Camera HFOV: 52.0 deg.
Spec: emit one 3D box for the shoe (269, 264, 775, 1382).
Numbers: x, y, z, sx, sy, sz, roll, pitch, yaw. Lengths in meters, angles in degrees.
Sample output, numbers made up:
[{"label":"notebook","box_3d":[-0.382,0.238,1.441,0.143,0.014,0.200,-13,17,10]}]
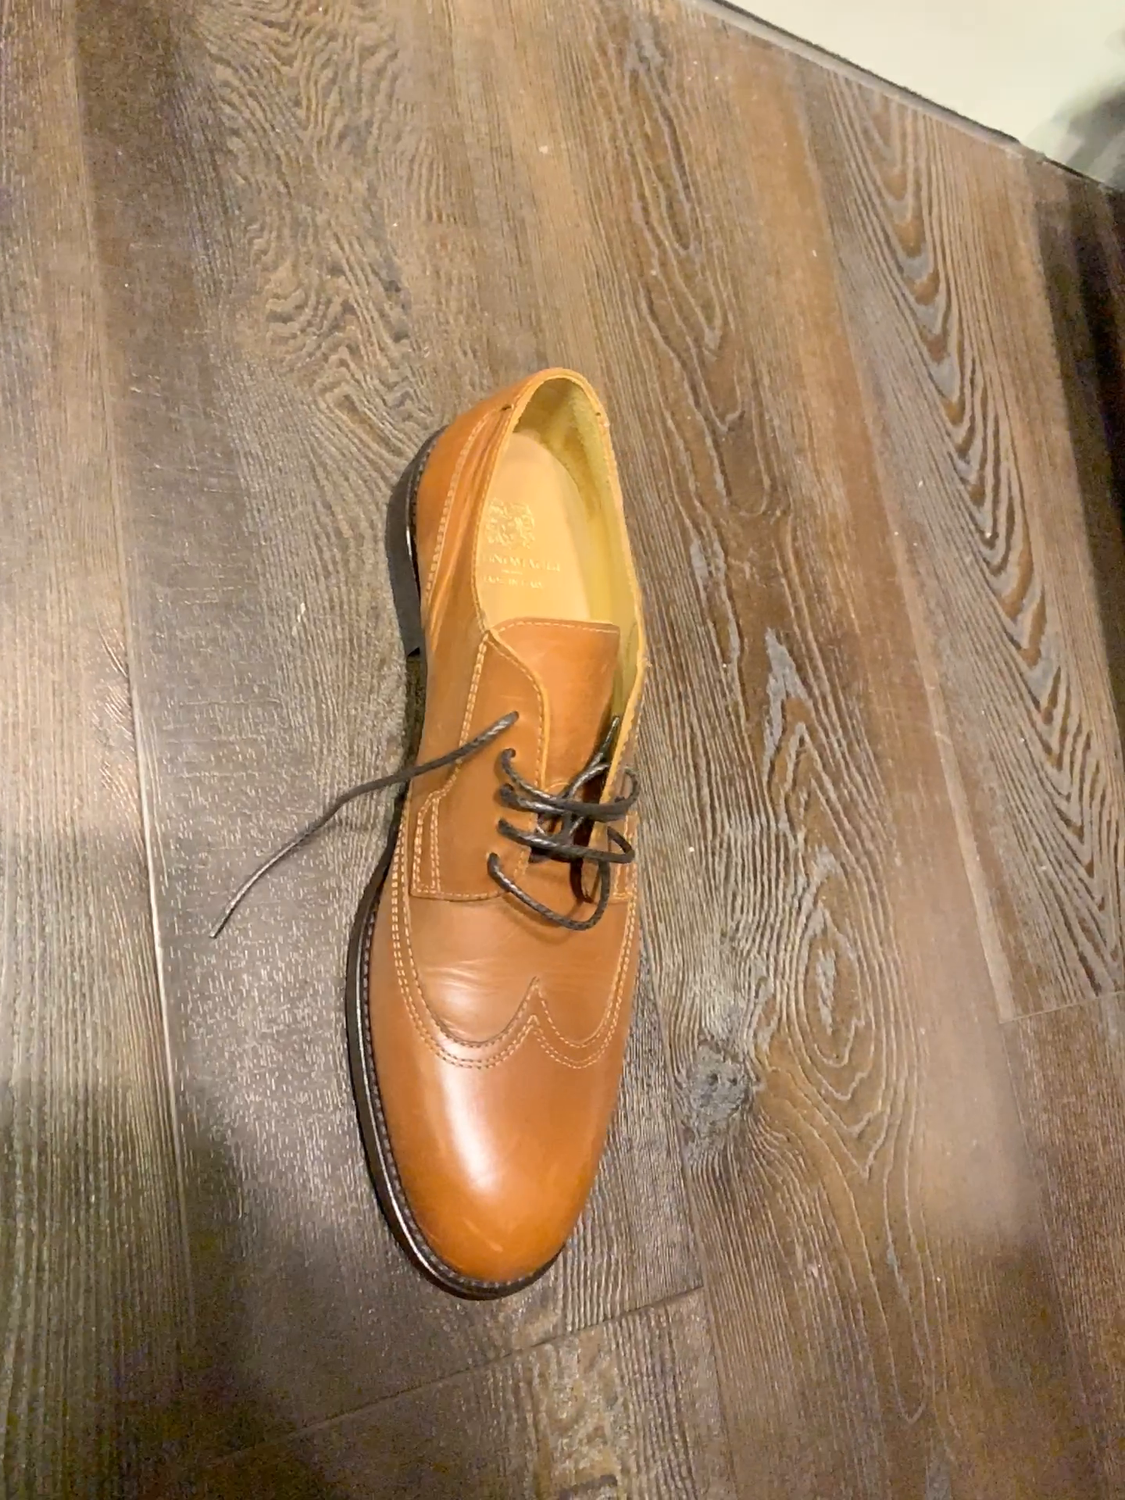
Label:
[{"label":"shoe","box_3d":[-0.017,0.020,0.398,0.120,0.109,0.321,8,73,-27]}]
